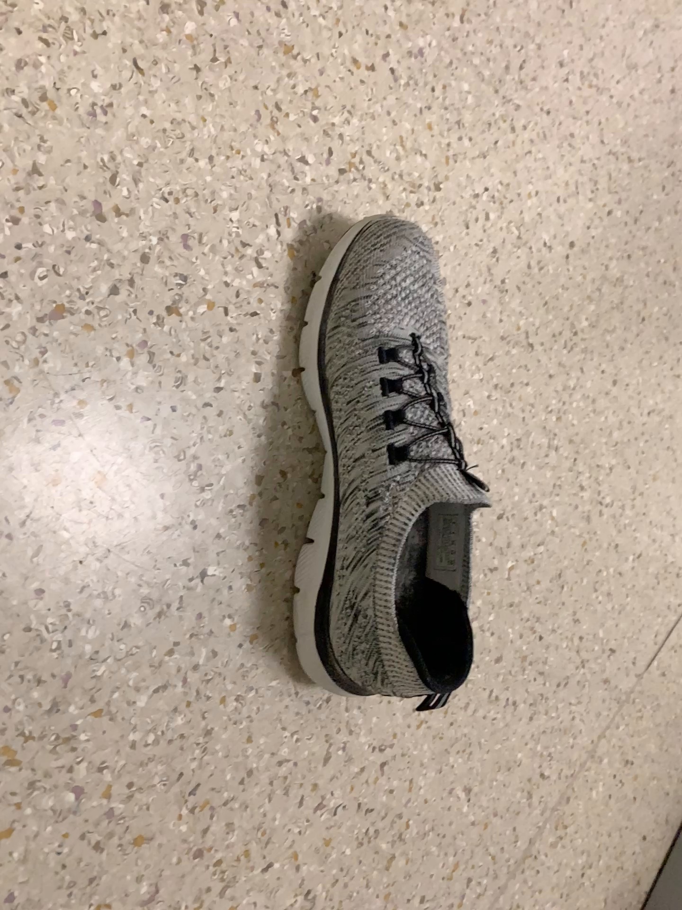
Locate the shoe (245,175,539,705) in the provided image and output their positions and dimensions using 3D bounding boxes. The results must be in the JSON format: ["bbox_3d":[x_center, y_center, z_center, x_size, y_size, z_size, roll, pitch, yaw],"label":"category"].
[{"bbox_3d":[0.029,-0.005,0.380,0.094,0.093,0.241,11,85,-42],"label":"shoe"}]
